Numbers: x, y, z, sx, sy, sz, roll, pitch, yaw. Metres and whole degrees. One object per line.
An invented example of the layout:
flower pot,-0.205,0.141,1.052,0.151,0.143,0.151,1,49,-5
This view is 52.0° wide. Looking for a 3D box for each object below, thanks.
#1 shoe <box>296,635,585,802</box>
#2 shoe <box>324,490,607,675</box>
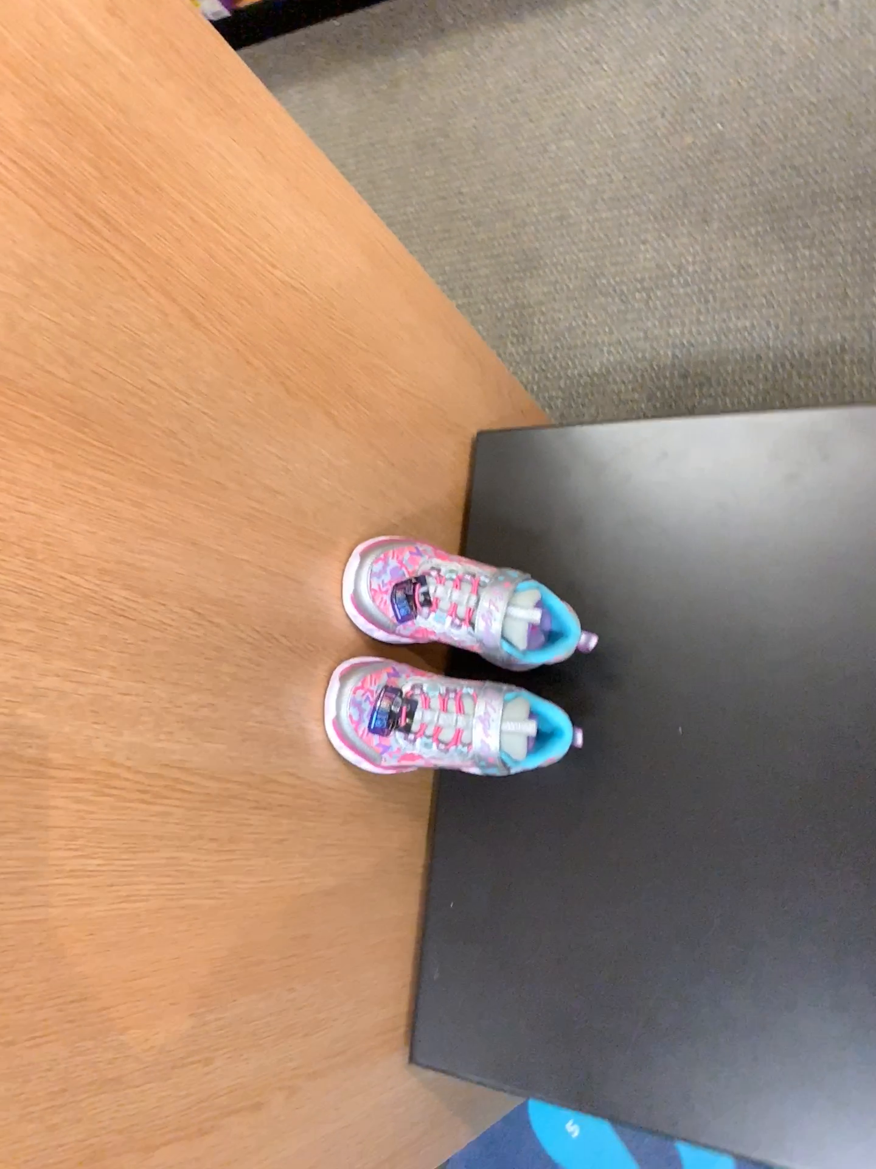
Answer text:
shoe,0.002,0.103,0.661,0.100,0.179,0.090,156,122,-64
shoe,0.021,0.006,0.687,0.100,0.180,0.090,163,119,-65
